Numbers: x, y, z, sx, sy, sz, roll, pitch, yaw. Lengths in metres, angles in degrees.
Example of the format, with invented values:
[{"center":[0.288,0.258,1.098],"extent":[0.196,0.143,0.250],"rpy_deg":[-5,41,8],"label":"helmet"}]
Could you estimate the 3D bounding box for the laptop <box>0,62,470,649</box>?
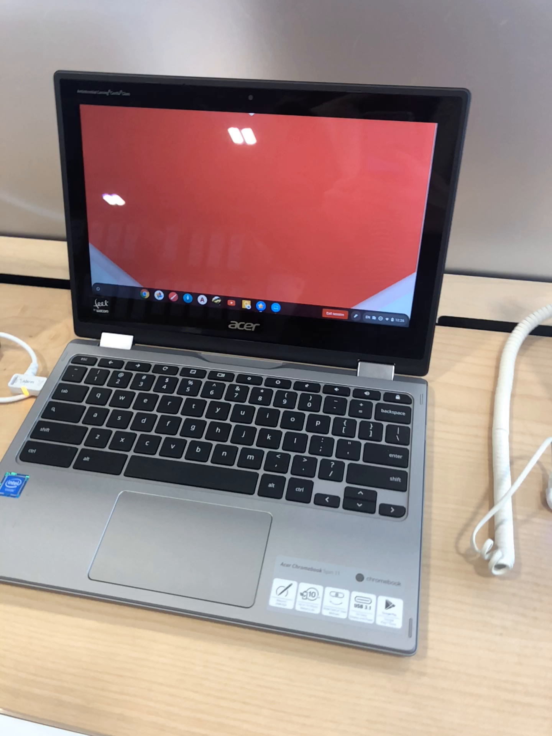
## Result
[{"center":[-0.044,-0.033,0.385],"extent":[0.287,0.176,0.296],"rpy_deg":[6,50,9],"label":"laptop"}]
